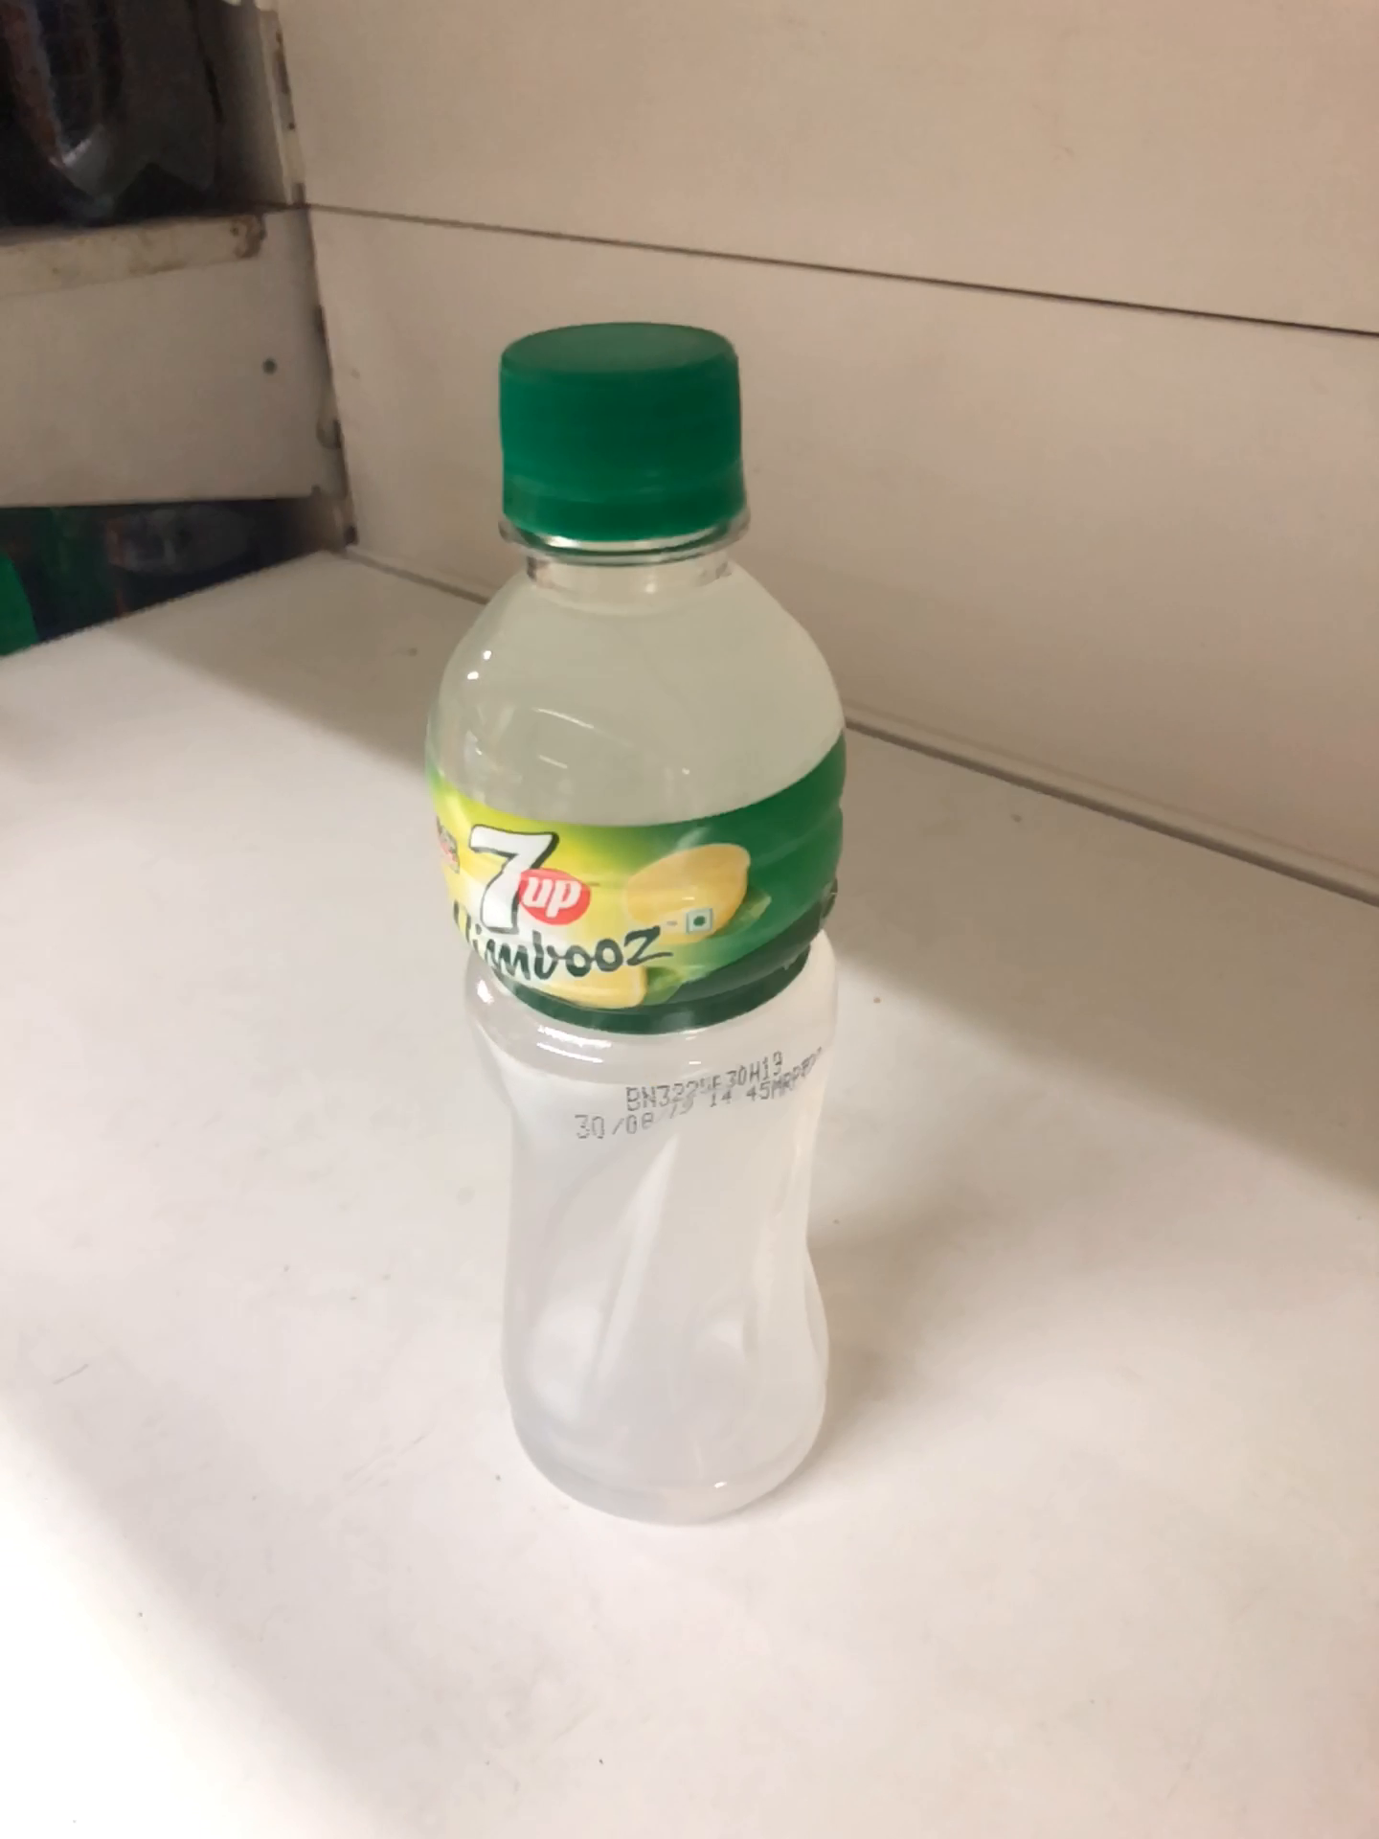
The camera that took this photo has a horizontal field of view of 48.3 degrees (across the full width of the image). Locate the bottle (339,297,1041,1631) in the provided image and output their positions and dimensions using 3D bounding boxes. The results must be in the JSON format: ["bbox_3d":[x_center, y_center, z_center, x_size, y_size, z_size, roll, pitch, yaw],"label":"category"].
[{"bbox_3d":[0.002,0.012,0.249,0.070,0.199,0.060,17,34,27],"label":"bottle"}]
